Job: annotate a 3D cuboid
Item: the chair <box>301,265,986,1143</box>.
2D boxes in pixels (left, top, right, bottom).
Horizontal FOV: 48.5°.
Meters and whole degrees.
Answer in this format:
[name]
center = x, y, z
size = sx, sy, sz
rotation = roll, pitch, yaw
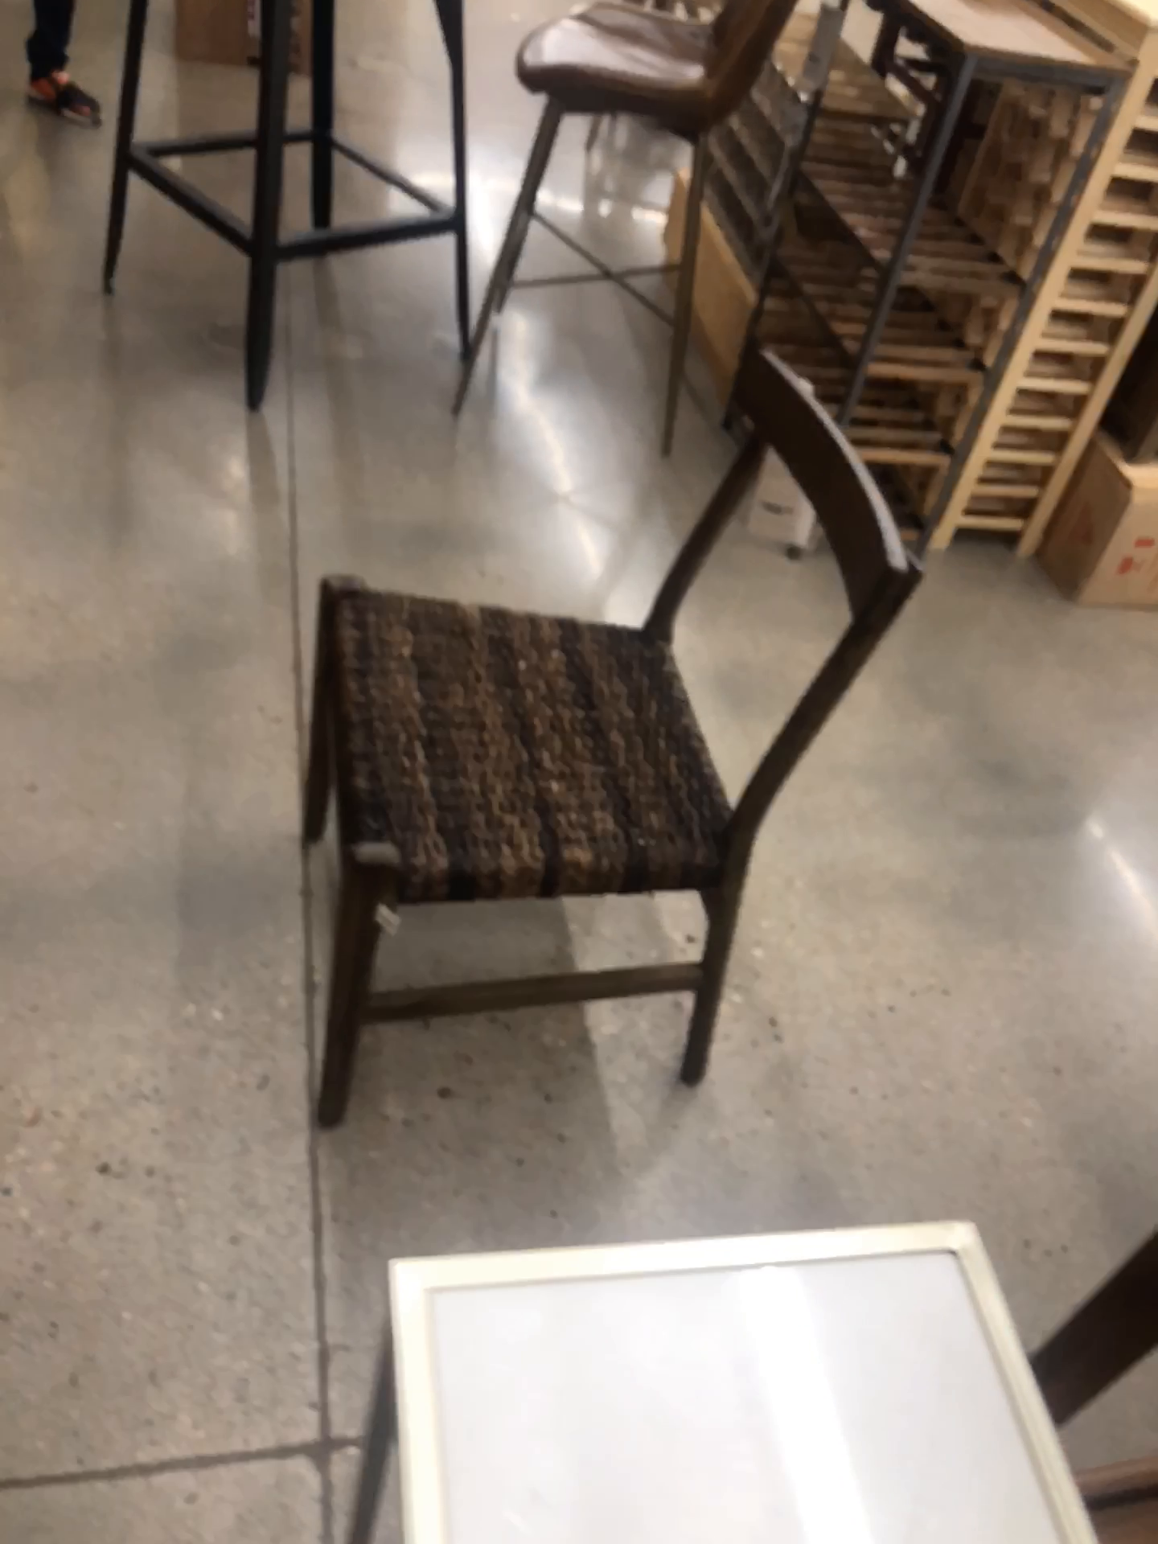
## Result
[chair]
center = -0.030, -0.047, 1.501
size = 0.533, 0.816, 0.550
rotation = 0, 44, -15
